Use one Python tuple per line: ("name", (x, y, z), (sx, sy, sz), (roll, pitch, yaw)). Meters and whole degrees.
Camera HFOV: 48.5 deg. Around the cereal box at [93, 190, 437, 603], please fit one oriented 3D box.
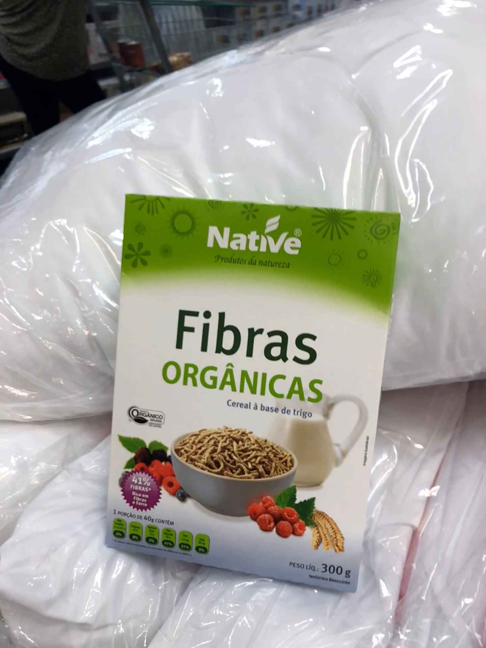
("cereal box", (0.009, 0.038, 0.353), (0.190, 0.229, 0.060), (6, 8, 11))
